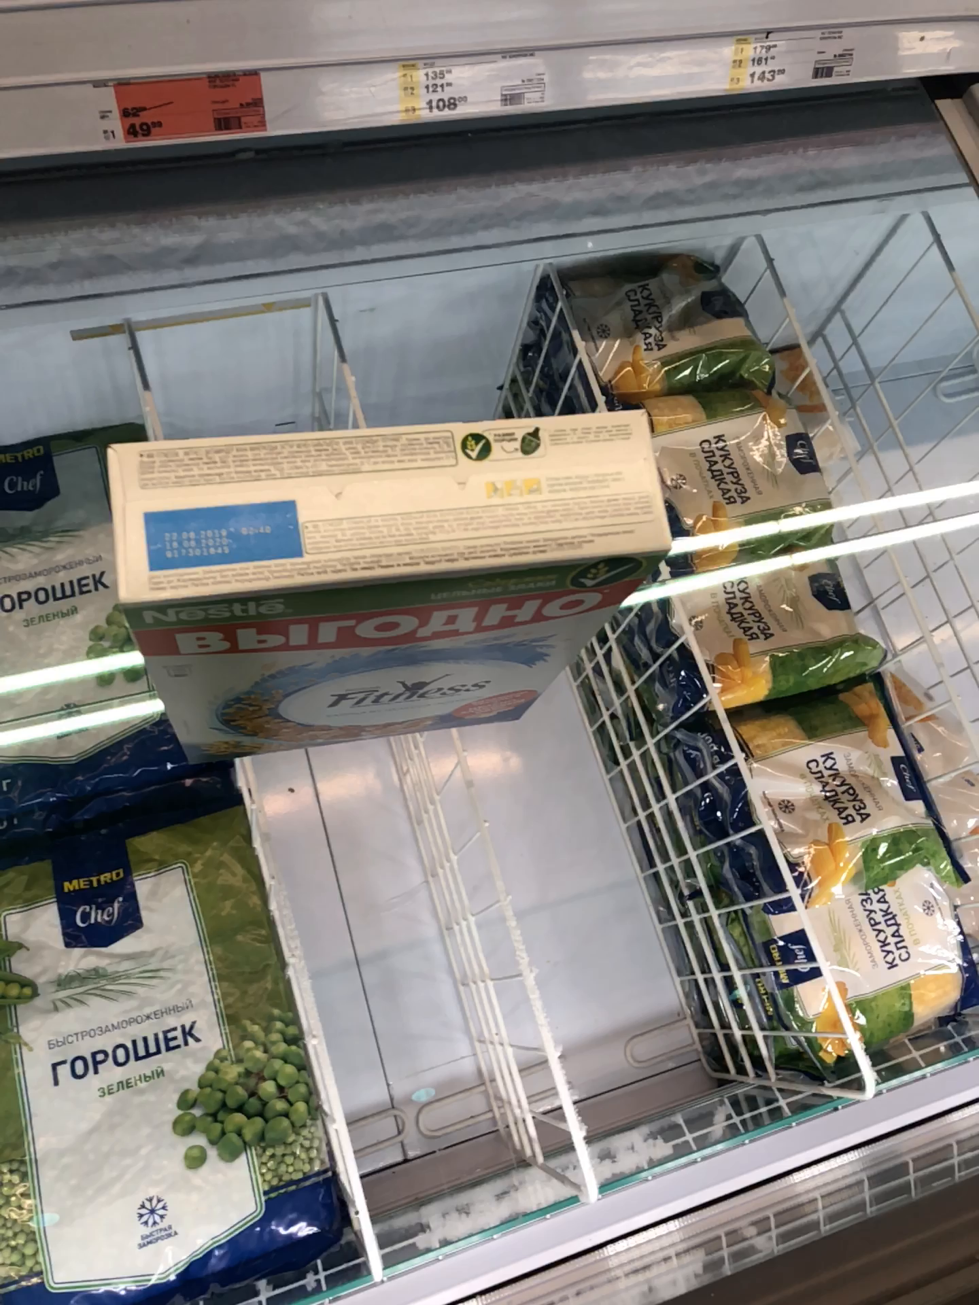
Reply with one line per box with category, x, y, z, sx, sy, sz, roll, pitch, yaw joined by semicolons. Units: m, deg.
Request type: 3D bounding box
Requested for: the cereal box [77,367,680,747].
cereal box;-0.058;-0.027;0.495;0.200;0.269;0.060;-7;74;-12
